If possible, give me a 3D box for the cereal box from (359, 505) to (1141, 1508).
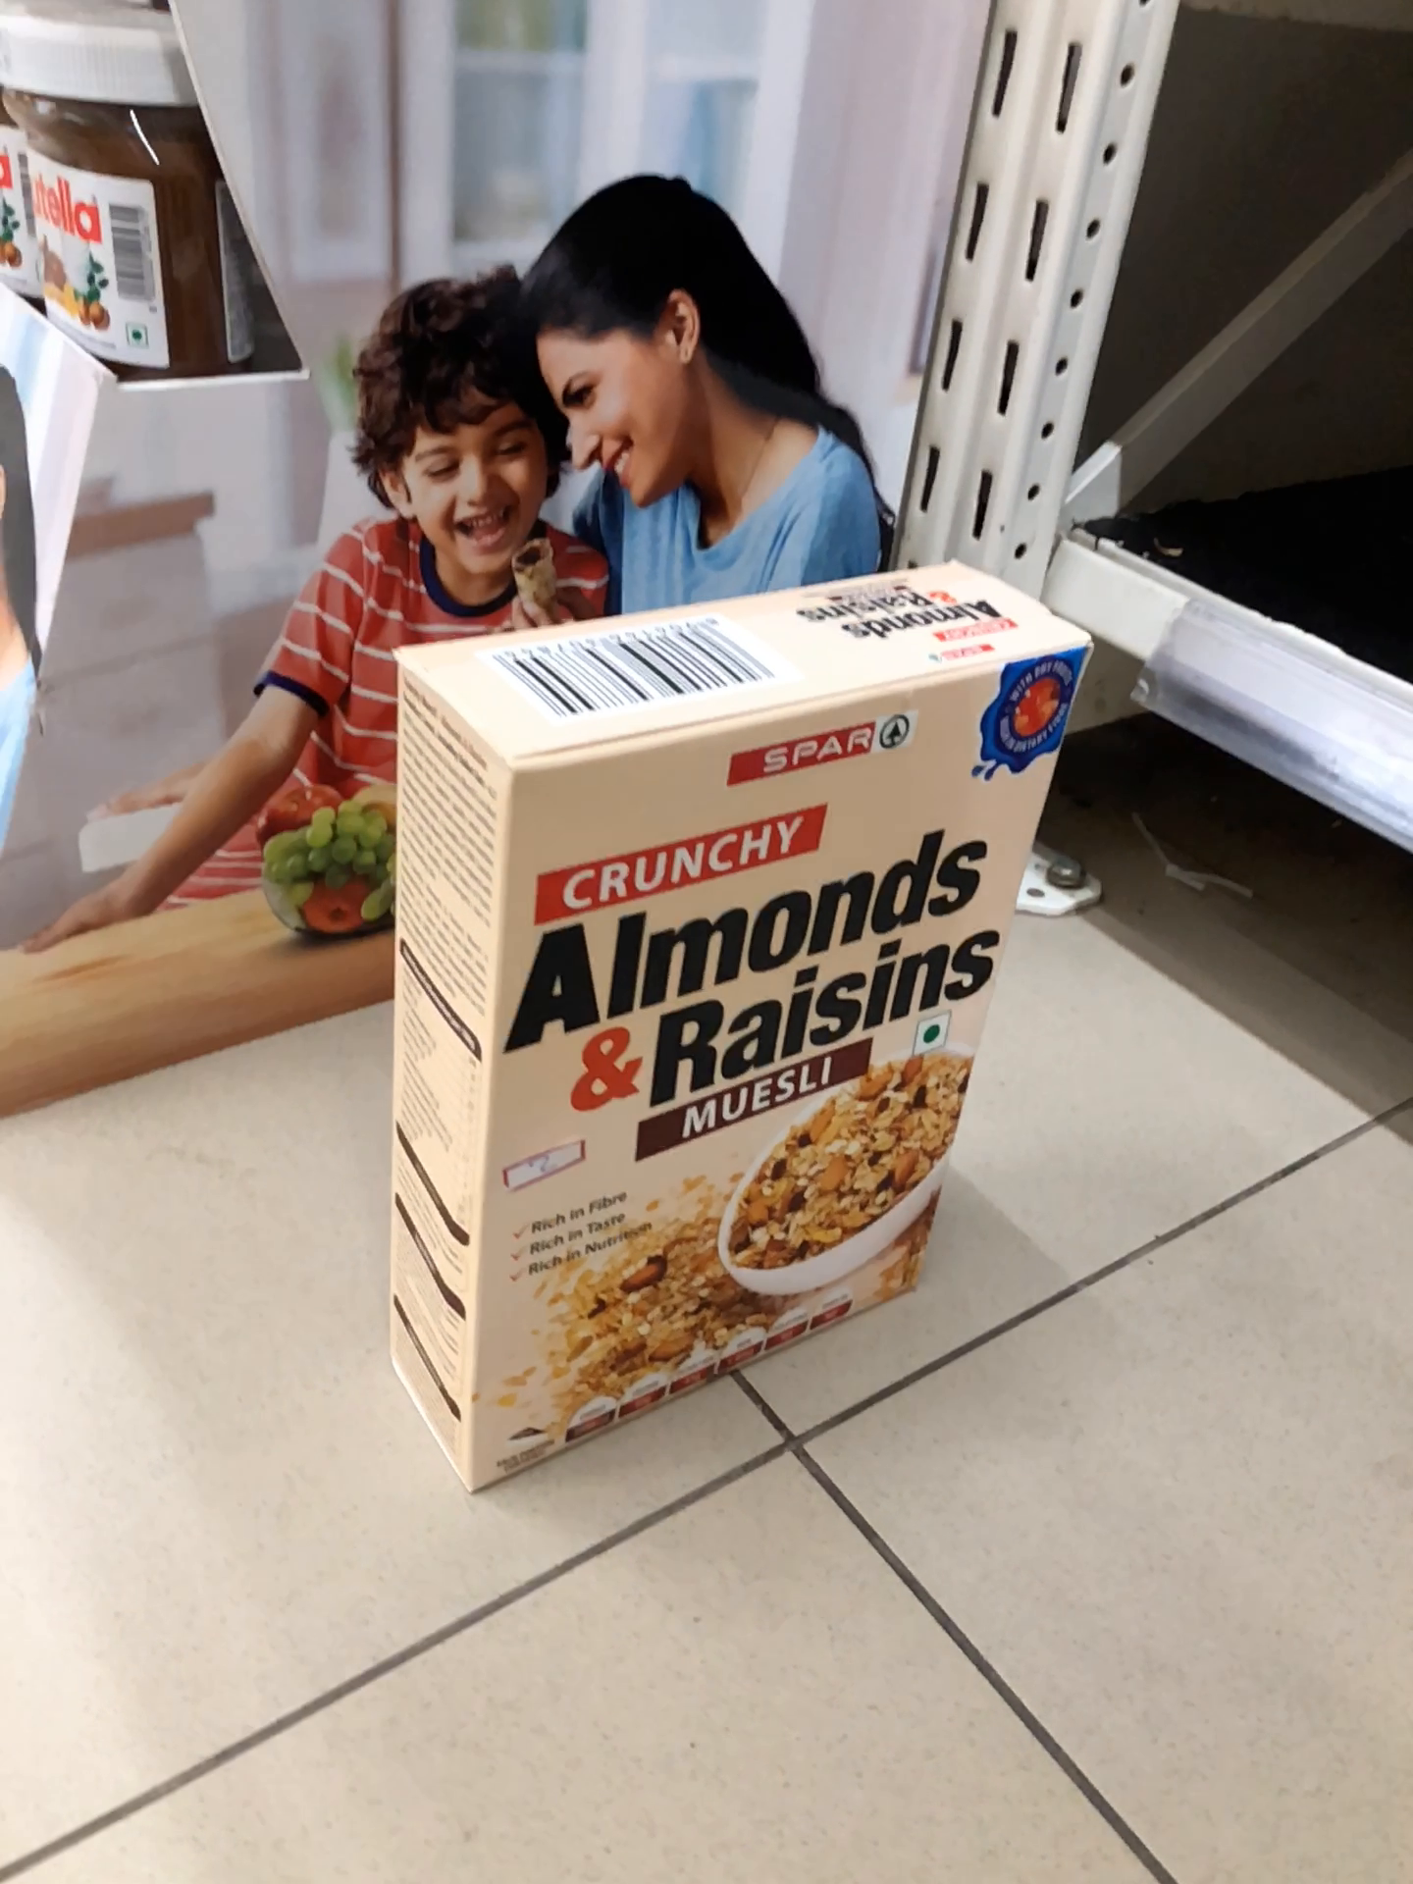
[{"bbox_3d":[0.004,0.017,0.424,0.181,0.238,0.060,-17,41,-32],"label":"cereal box"}]
